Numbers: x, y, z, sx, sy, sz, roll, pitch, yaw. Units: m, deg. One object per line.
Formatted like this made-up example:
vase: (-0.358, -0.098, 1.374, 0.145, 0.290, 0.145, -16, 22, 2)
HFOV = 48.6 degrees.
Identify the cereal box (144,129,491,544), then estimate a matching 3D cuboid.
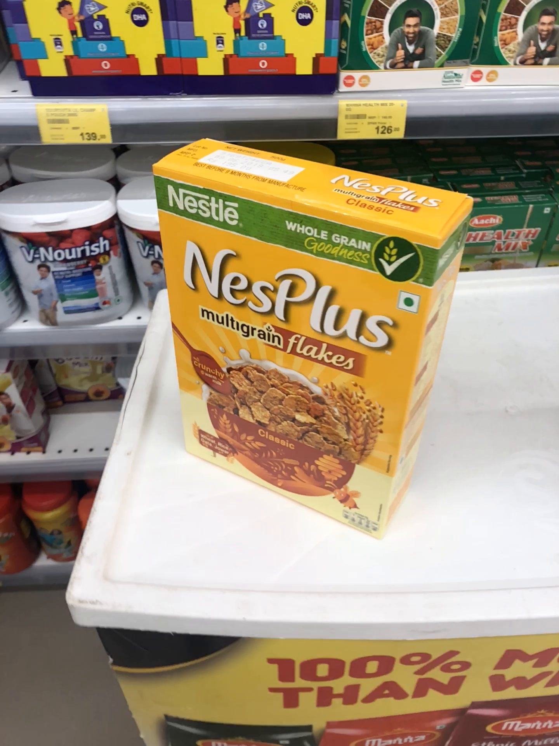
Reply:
cereal box: (0.020, -0.018, 0.464, 0.200, 0.269, 0.070, 20, 45, 21)
